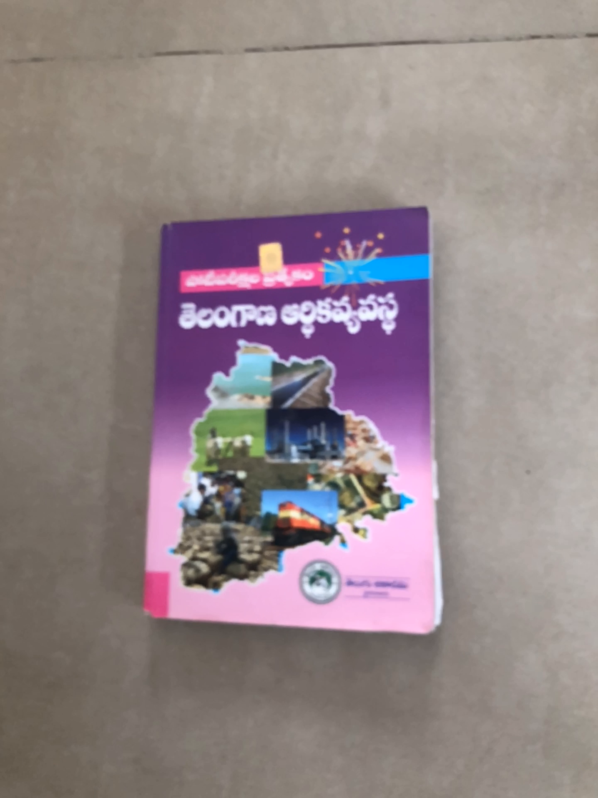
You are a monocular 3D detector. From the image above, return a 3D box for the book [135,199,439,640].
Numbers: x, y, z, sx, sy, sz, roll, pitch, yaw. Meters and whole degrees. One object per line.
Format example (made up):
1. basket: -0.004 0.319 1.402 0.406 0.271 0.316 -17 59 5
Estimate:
1. book: -0.006 0.011 0.446 0.191 0.040 0.268 0 85 11
